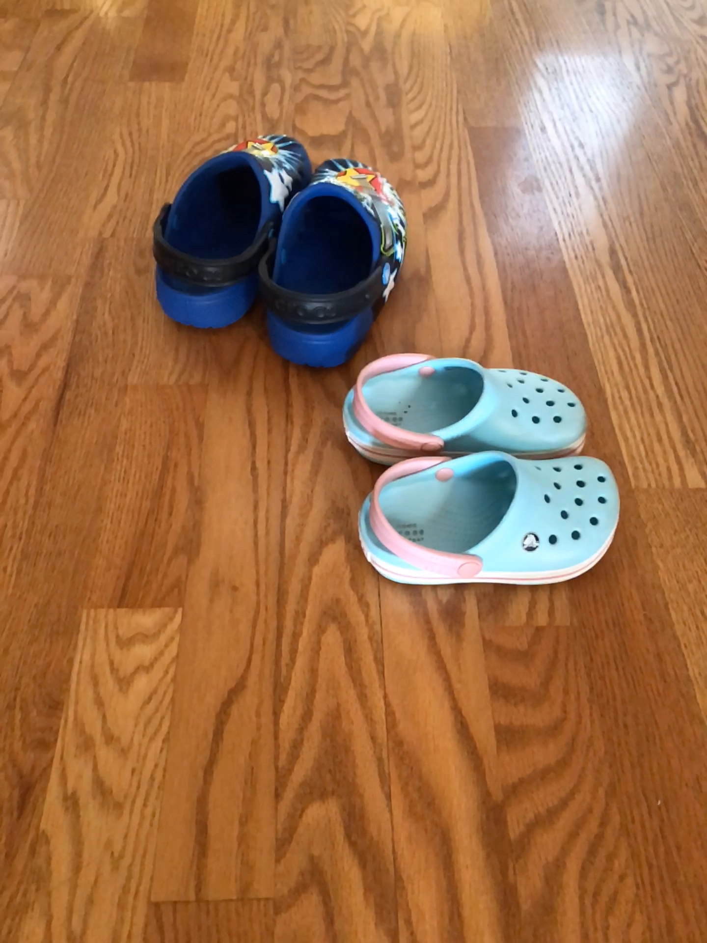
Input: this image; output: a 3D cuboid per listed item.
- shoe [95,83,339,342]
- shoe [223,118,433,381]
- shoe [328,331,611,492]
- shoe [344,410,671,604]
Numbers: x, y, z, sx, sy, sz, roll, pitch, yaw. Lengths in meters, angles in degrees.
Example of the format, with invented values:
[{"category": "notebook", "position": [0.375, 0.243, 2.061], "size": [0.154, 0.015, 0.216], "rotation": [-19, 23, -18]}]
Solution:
[{"category": "shoe", "position": [-0.096, -0.217, 0.624], "size": [0.110, 0.070, 0.231], "rotation": [13, 53, 8]}, {"category": "shoe", "position": [-0.012, -0.181, 0.605], "size": [0.110, 0.070, 0.221], "rotation": [10, 52, 6]}, {"category": "shoe", "position": [0.071, -0.041, 0.514], "size": [0.170, 0.050, 0.090], "rotation": [2, 52, 0]}, {"category": "shoe", "position": [0.084, 0.019, 0.465], "size": [0.170, 0.050, 0.090], "rotation": [-5, 52, -5]}]
